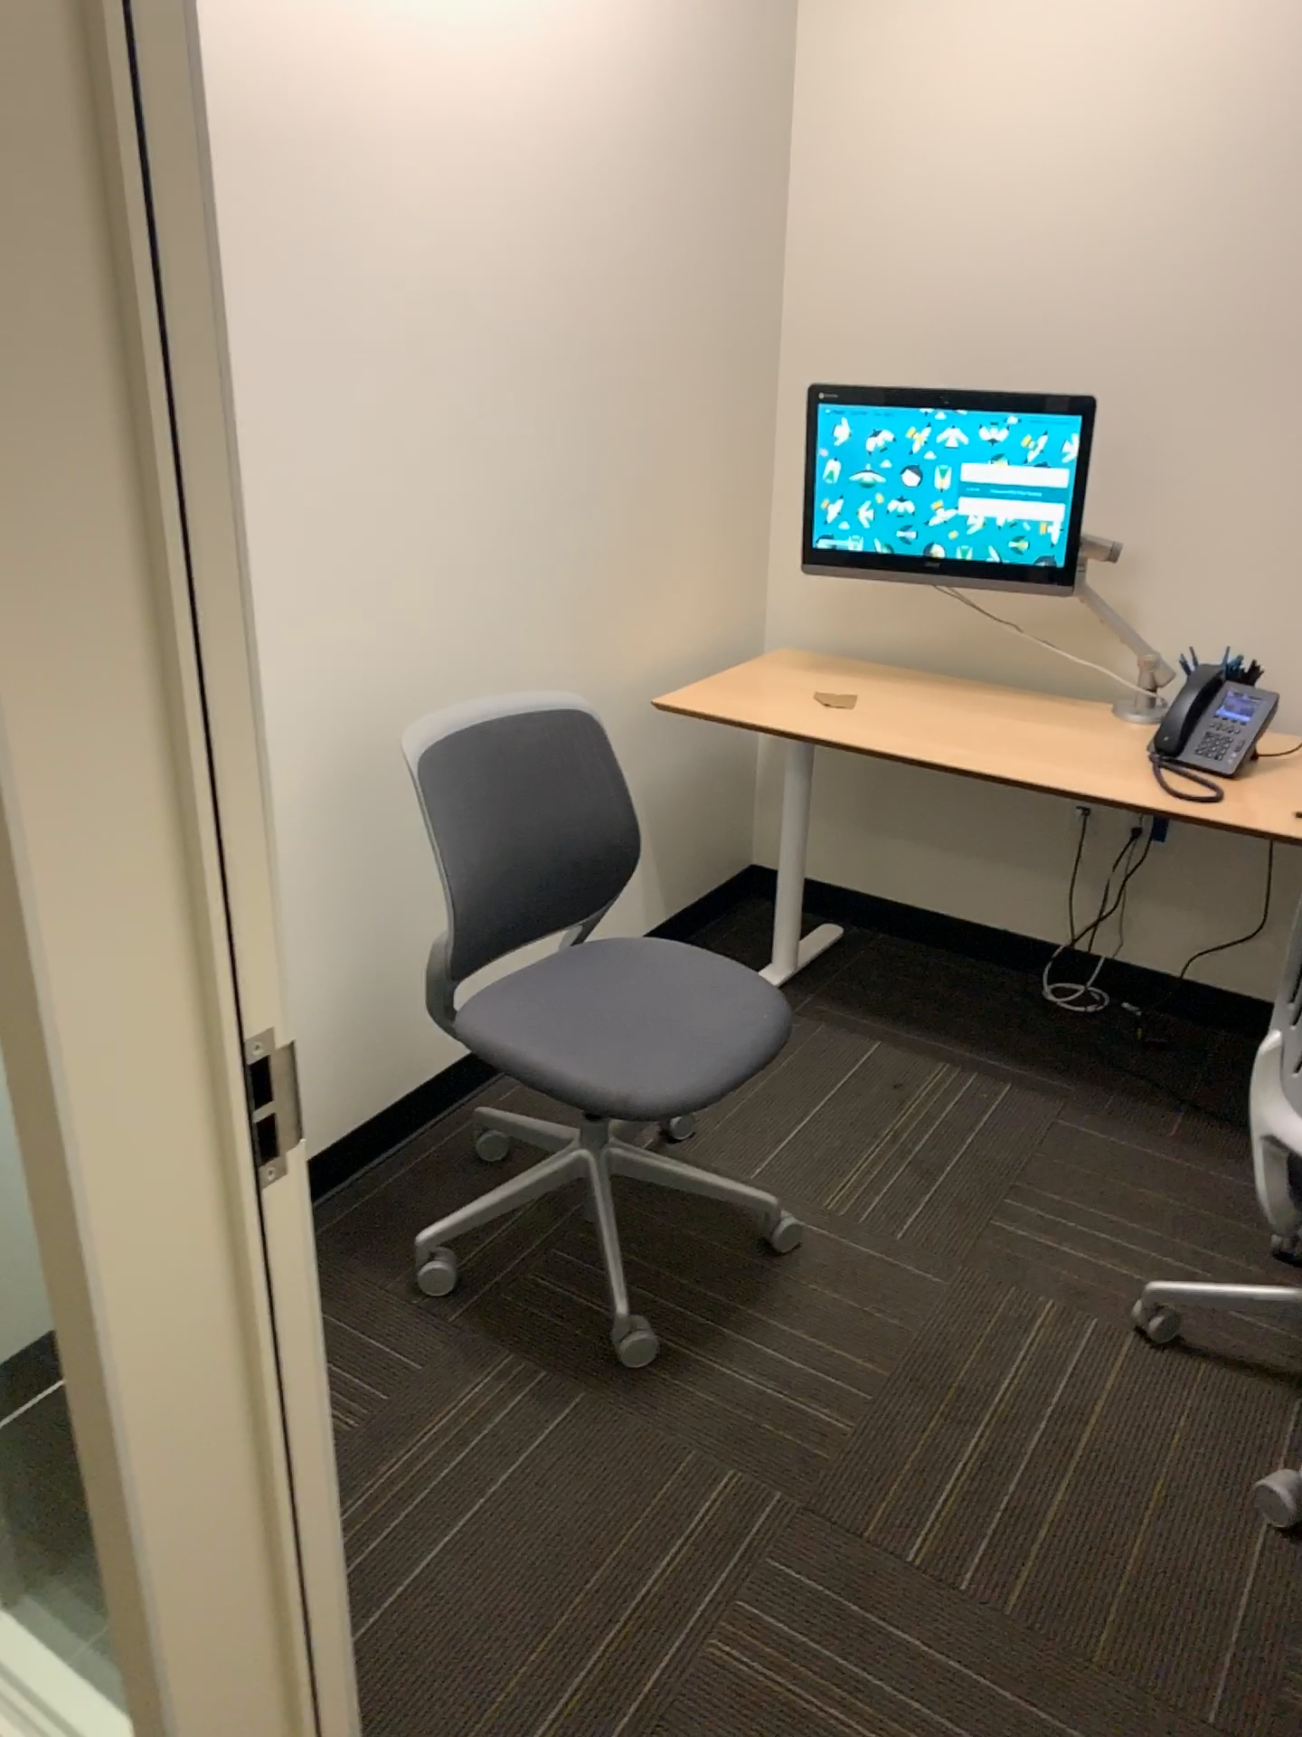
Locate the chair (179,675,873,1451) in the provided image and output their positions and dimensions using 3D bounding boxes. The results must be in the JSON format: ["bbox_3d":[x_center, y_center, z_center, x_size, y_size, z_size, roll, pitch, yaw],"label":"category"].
[{"bbox_3d":[-0.223,0.243,2.363,0.903,0.885,0.721,21,30,38],"label":"chair"}]
